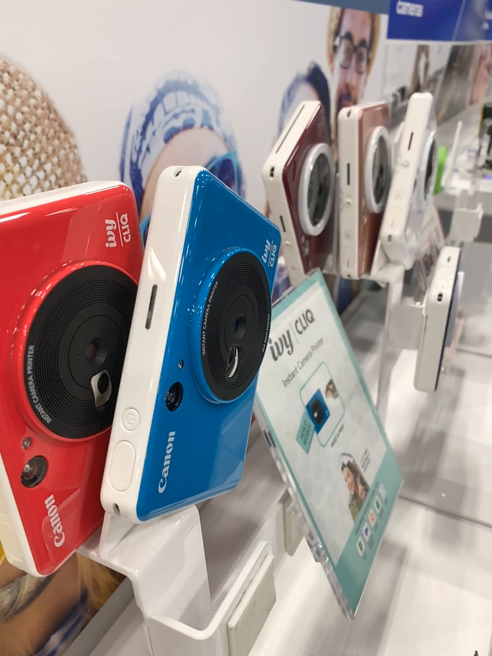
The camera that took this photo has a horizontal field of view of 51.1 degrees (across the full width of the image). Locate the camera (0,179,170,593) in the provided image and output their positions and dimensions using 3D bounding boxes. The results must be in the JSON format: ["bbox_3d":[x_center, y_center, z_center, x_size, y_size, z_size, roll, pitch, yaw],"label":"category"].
[{"bbox_3d":[-0.063,0.017,0.179,0.030,0.123,0.067,15,29,28],"label":"camera"}]

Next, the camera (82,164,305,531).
[{"bbox_3d":[-0.013,0.007,0.199,0.030,0.114,0.077,10,-4,24],"label":"camera"}]

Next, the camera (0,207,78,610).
[{"bbox_3d":[-0.111,0.035,0.160,0.030,0.123,0.068,19,60,25],"label":"camera"}]
